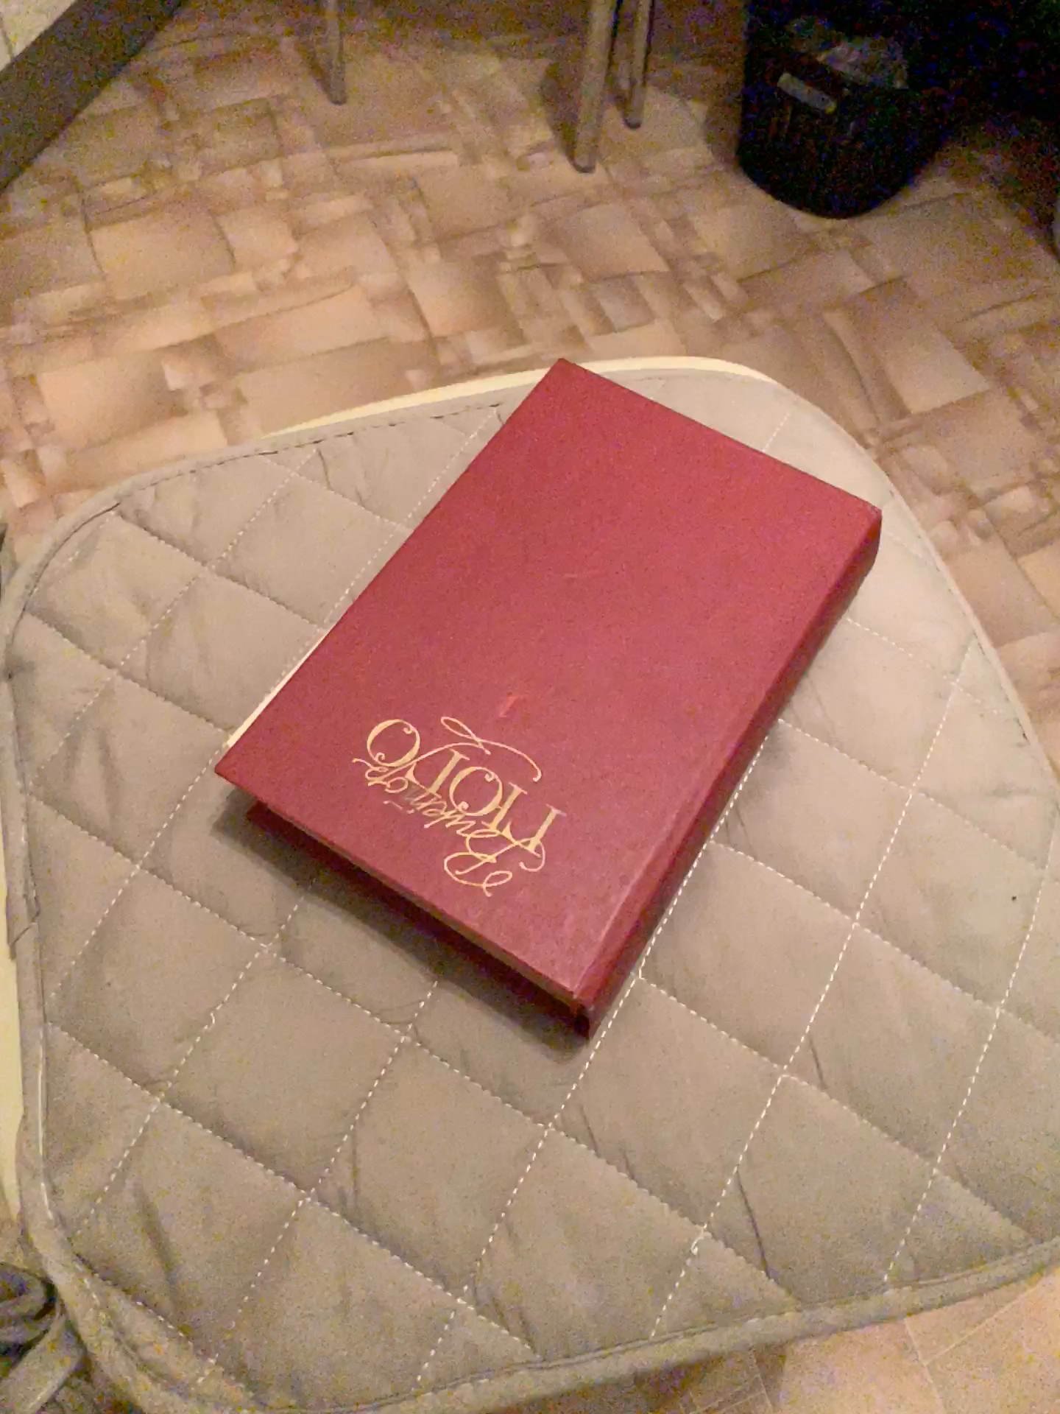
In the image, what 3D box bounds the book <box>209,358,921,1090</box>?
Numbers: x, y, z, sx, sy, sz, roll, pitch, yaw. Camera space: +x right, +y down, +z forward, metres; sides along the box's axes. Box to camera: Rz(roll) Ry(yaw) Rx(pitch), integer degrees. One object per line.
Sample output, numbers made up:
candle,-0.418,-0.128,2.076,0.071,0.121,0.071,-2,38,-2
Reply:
book,0.019,-0.005,0.364,0.140,0.060,0.201,29,64,11
